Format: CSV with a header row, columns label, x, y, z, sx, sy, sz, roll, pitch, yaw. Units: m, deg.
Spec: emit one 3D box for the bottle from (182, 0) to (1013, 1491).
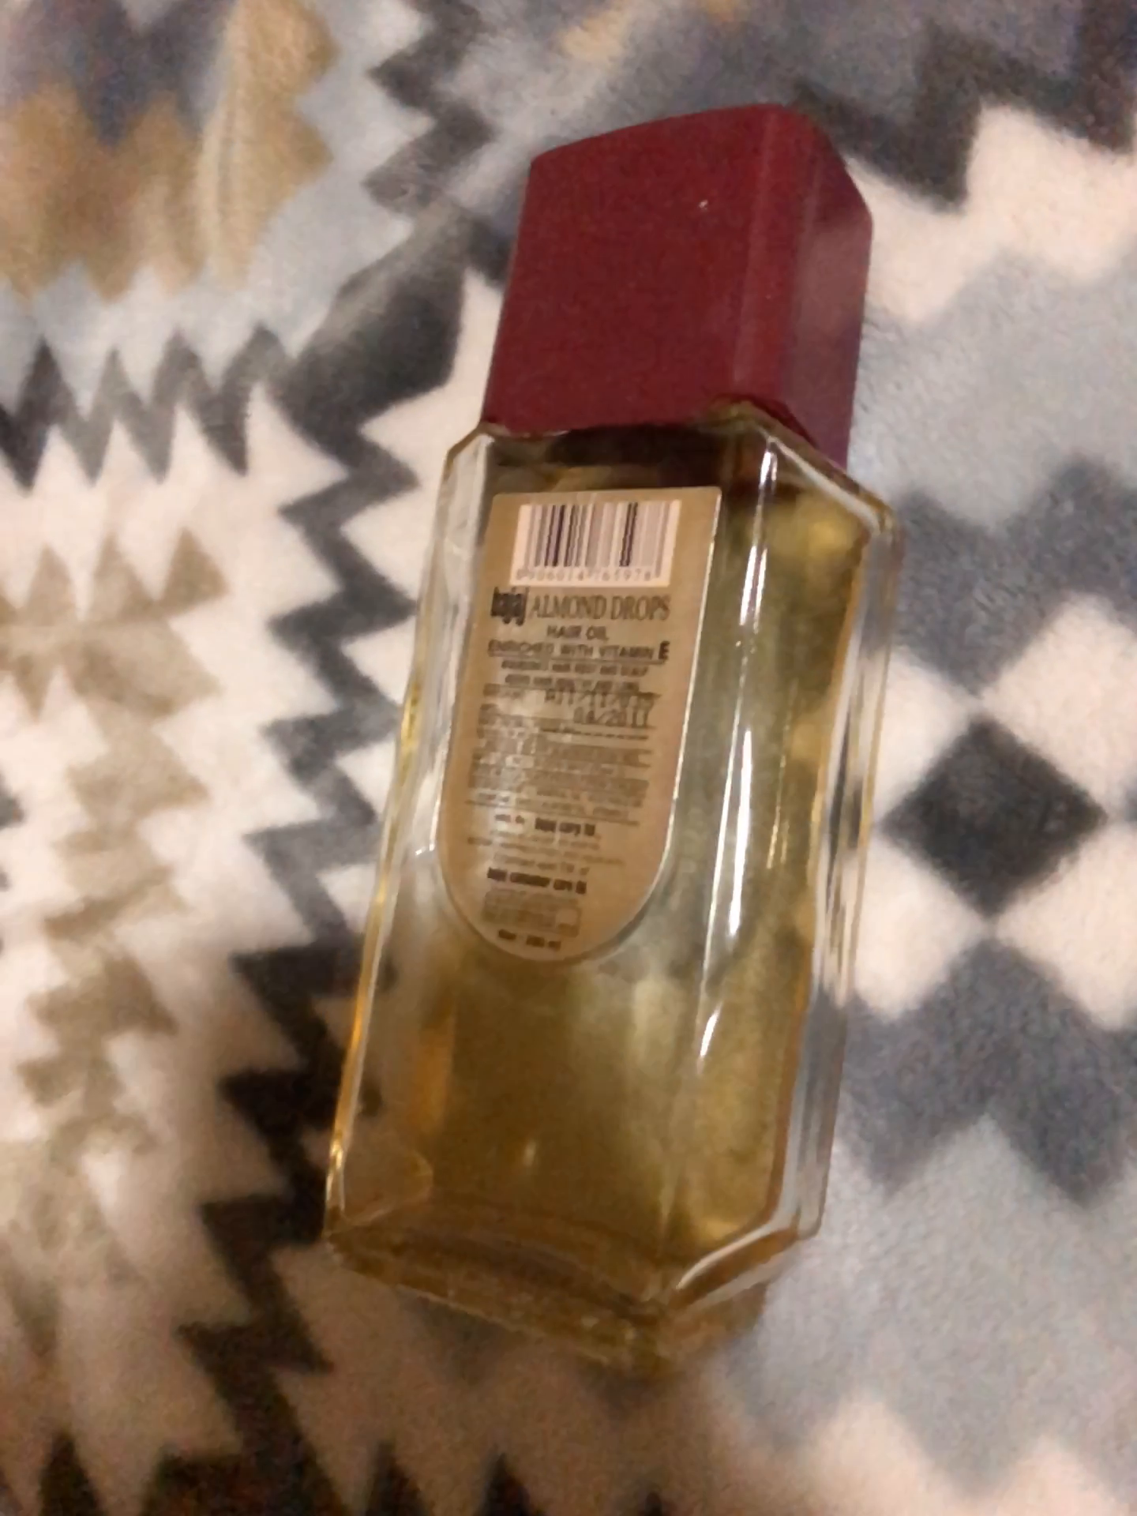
label,x,y,z,sx,sy,sz,roll,pitch,yaw
bottle,0.007,-0.016,0.182,0.080,0.040,0.190,4,80,33
